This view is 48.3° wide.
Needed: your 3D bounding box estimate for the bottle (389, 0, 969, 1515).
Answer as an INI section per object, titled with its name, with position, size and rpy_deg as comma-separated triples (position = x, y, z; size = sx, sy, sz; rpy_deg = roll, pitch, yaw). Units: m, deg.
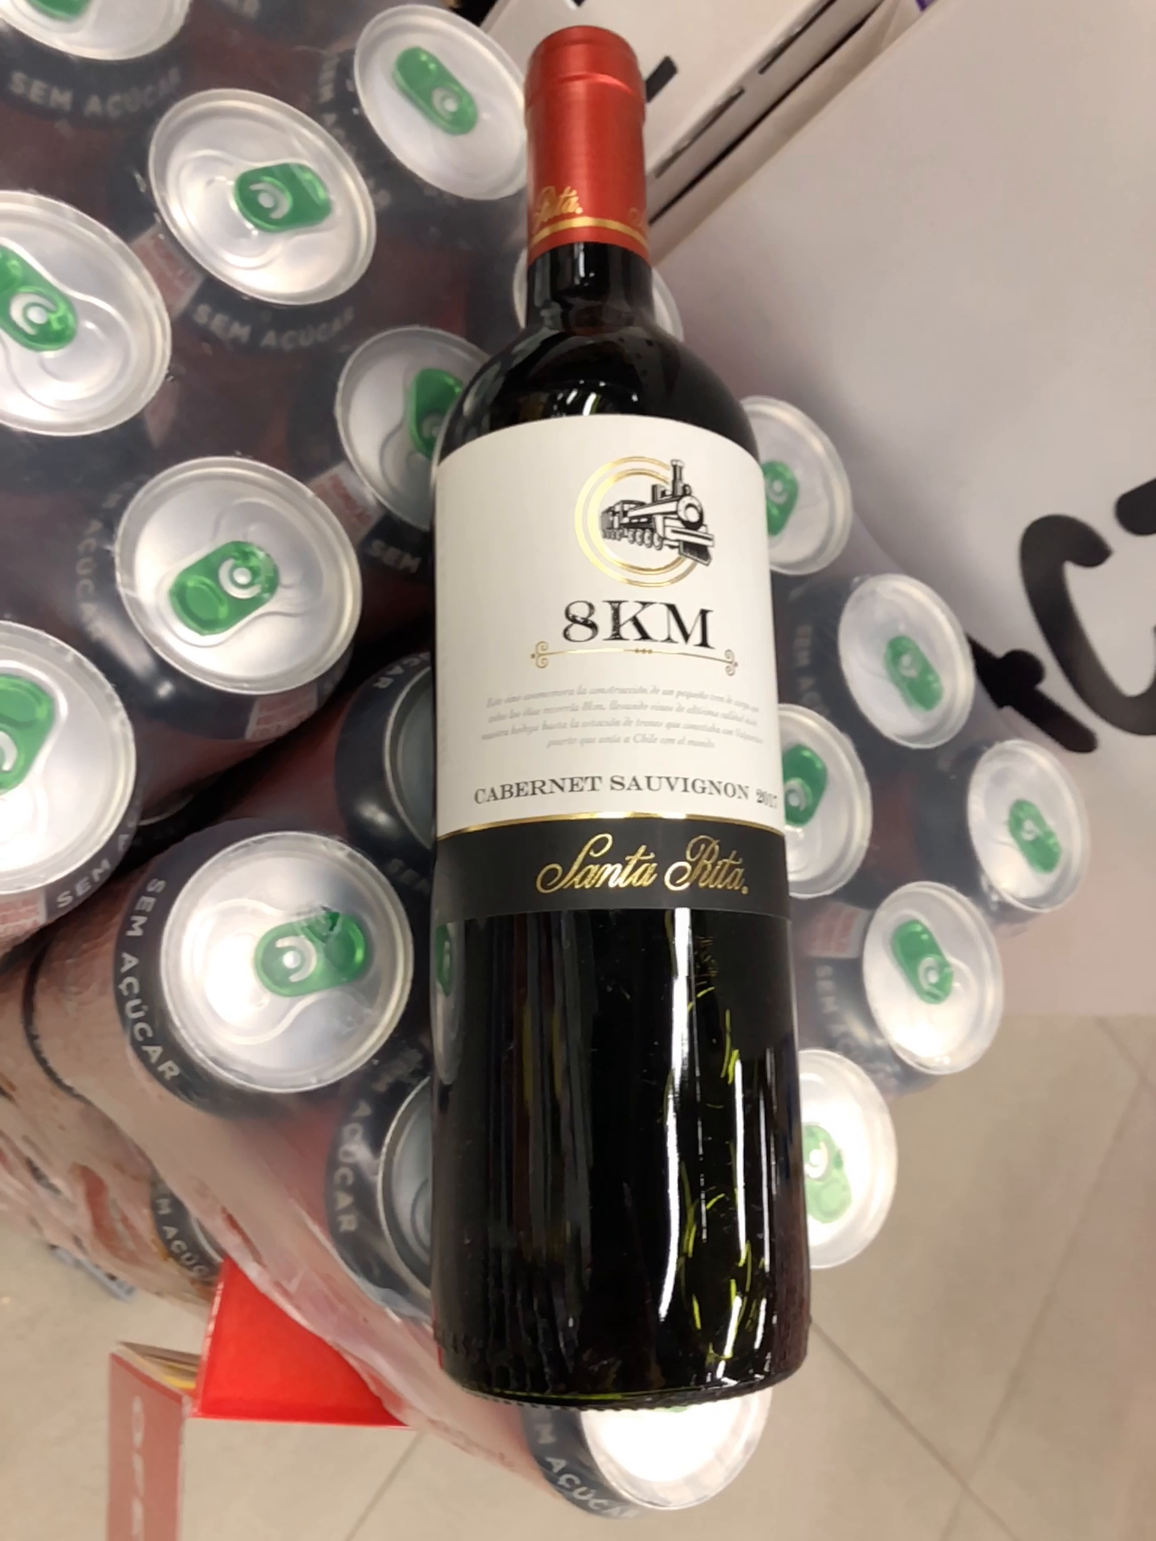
[bottle]
position = 0.012, -0.038, 0.272
size = 0.080, 0.070, 0.320
rpy_deg = 6, 75, -31
